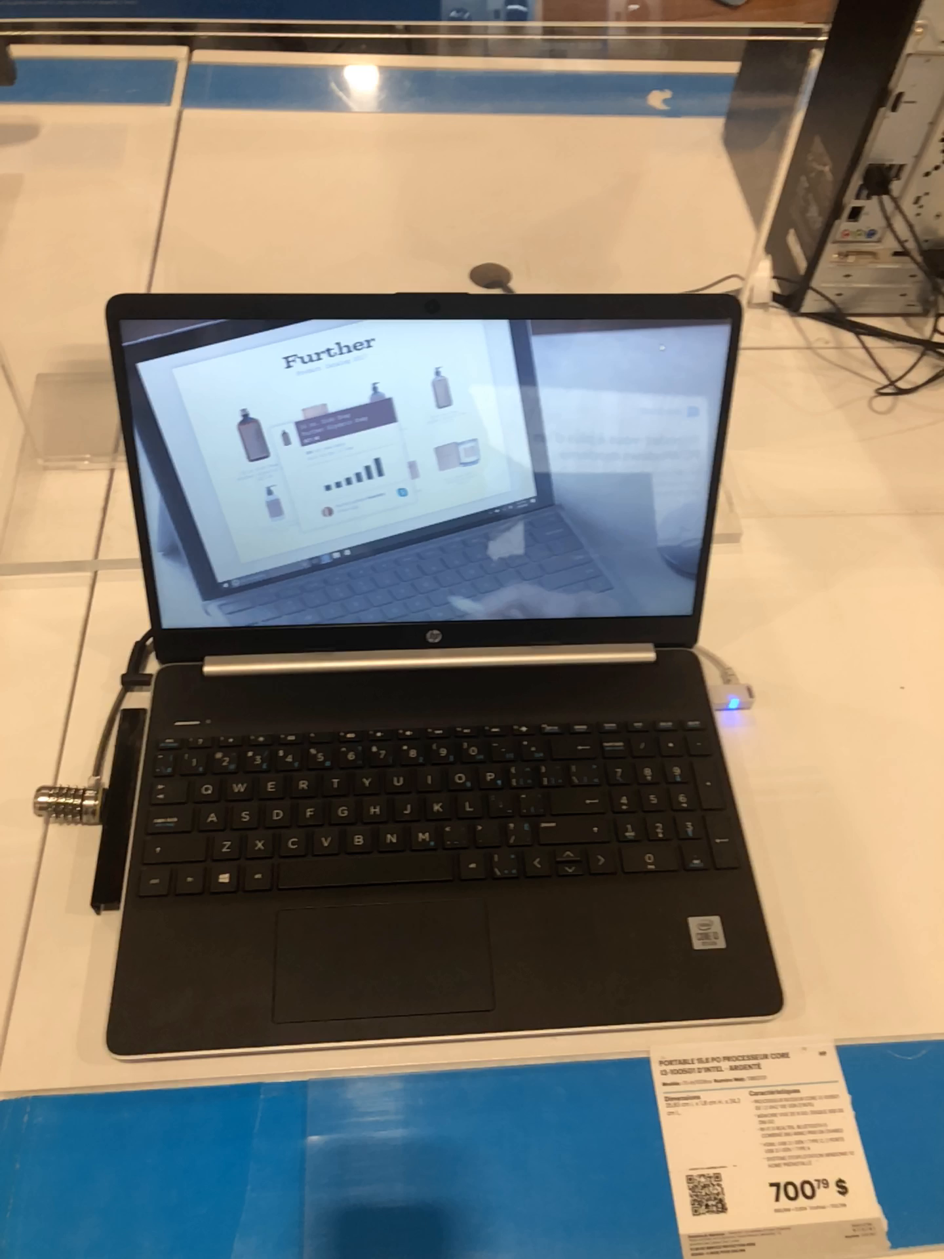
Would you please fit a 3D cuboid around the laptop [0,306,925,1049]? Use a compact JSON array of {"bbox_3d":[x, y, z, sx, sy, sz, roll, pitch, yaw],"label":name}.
[{"bbox_3d":[-0.014,0.012,0.559,0.346,0.196,0.335,-2,53,-5],"label":"laptop"}]
